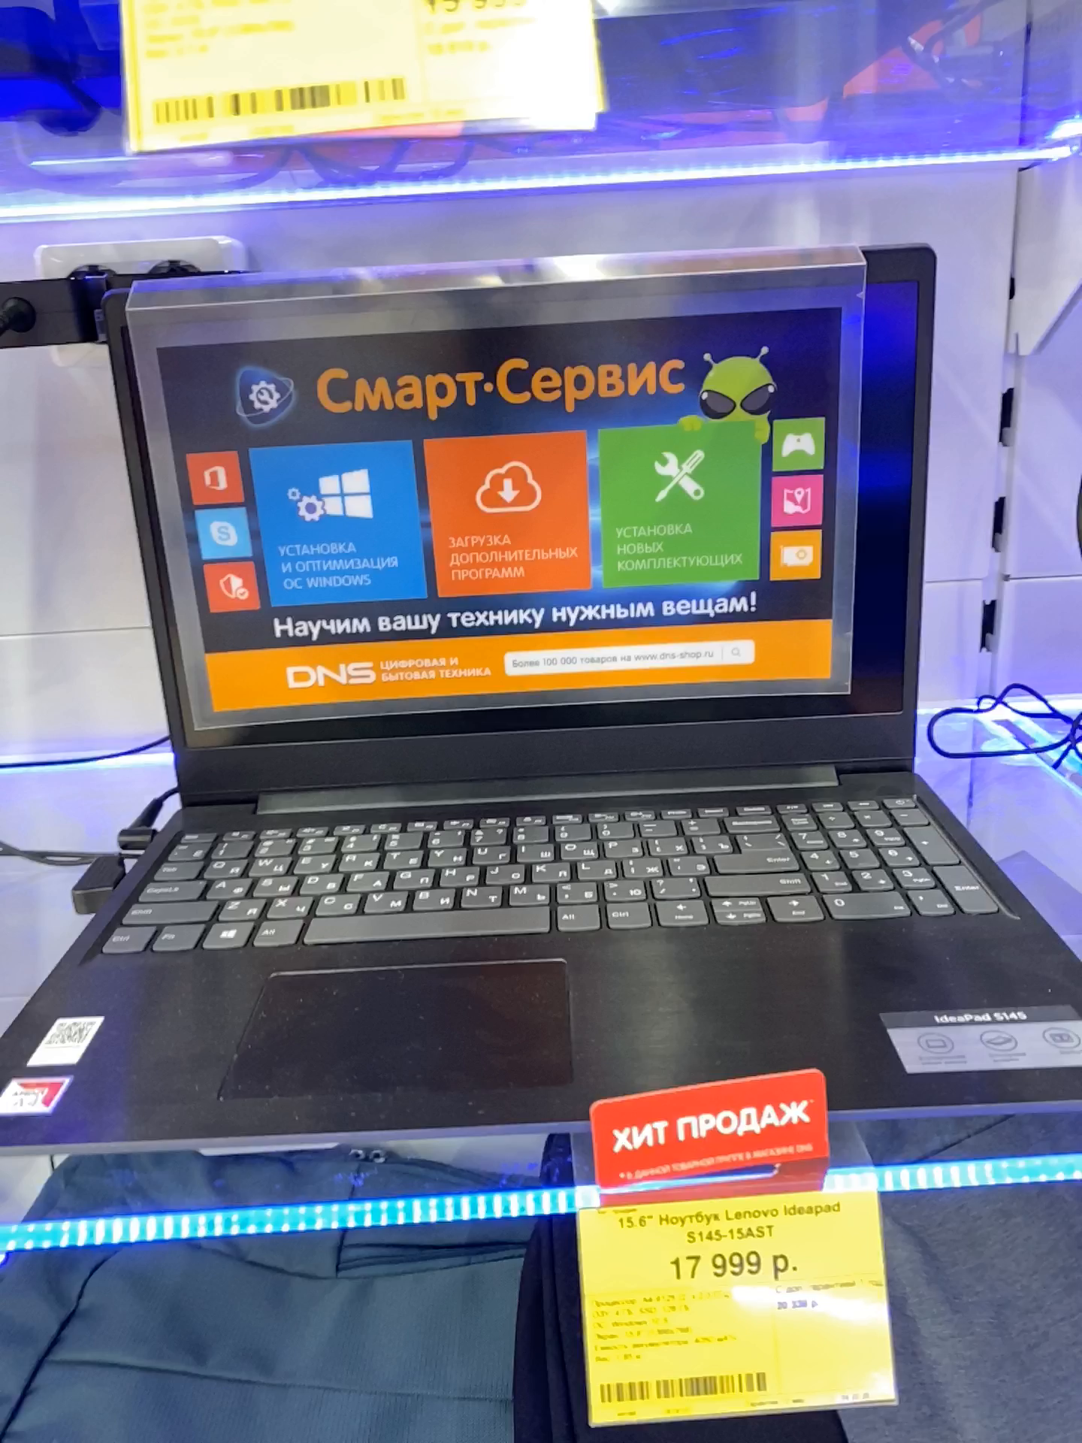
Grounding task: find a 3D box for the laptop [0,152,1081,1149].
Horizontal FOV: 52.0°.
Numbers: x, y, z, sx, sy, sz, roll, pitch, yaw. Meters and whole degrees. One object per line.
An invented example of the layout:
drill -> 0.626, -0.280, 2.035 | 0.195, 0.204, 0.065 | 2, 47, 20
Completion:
laptop -> -0.005, -0.041, 0.400 | 0.361, 0.239, 0.258 | -3, 18, 1
